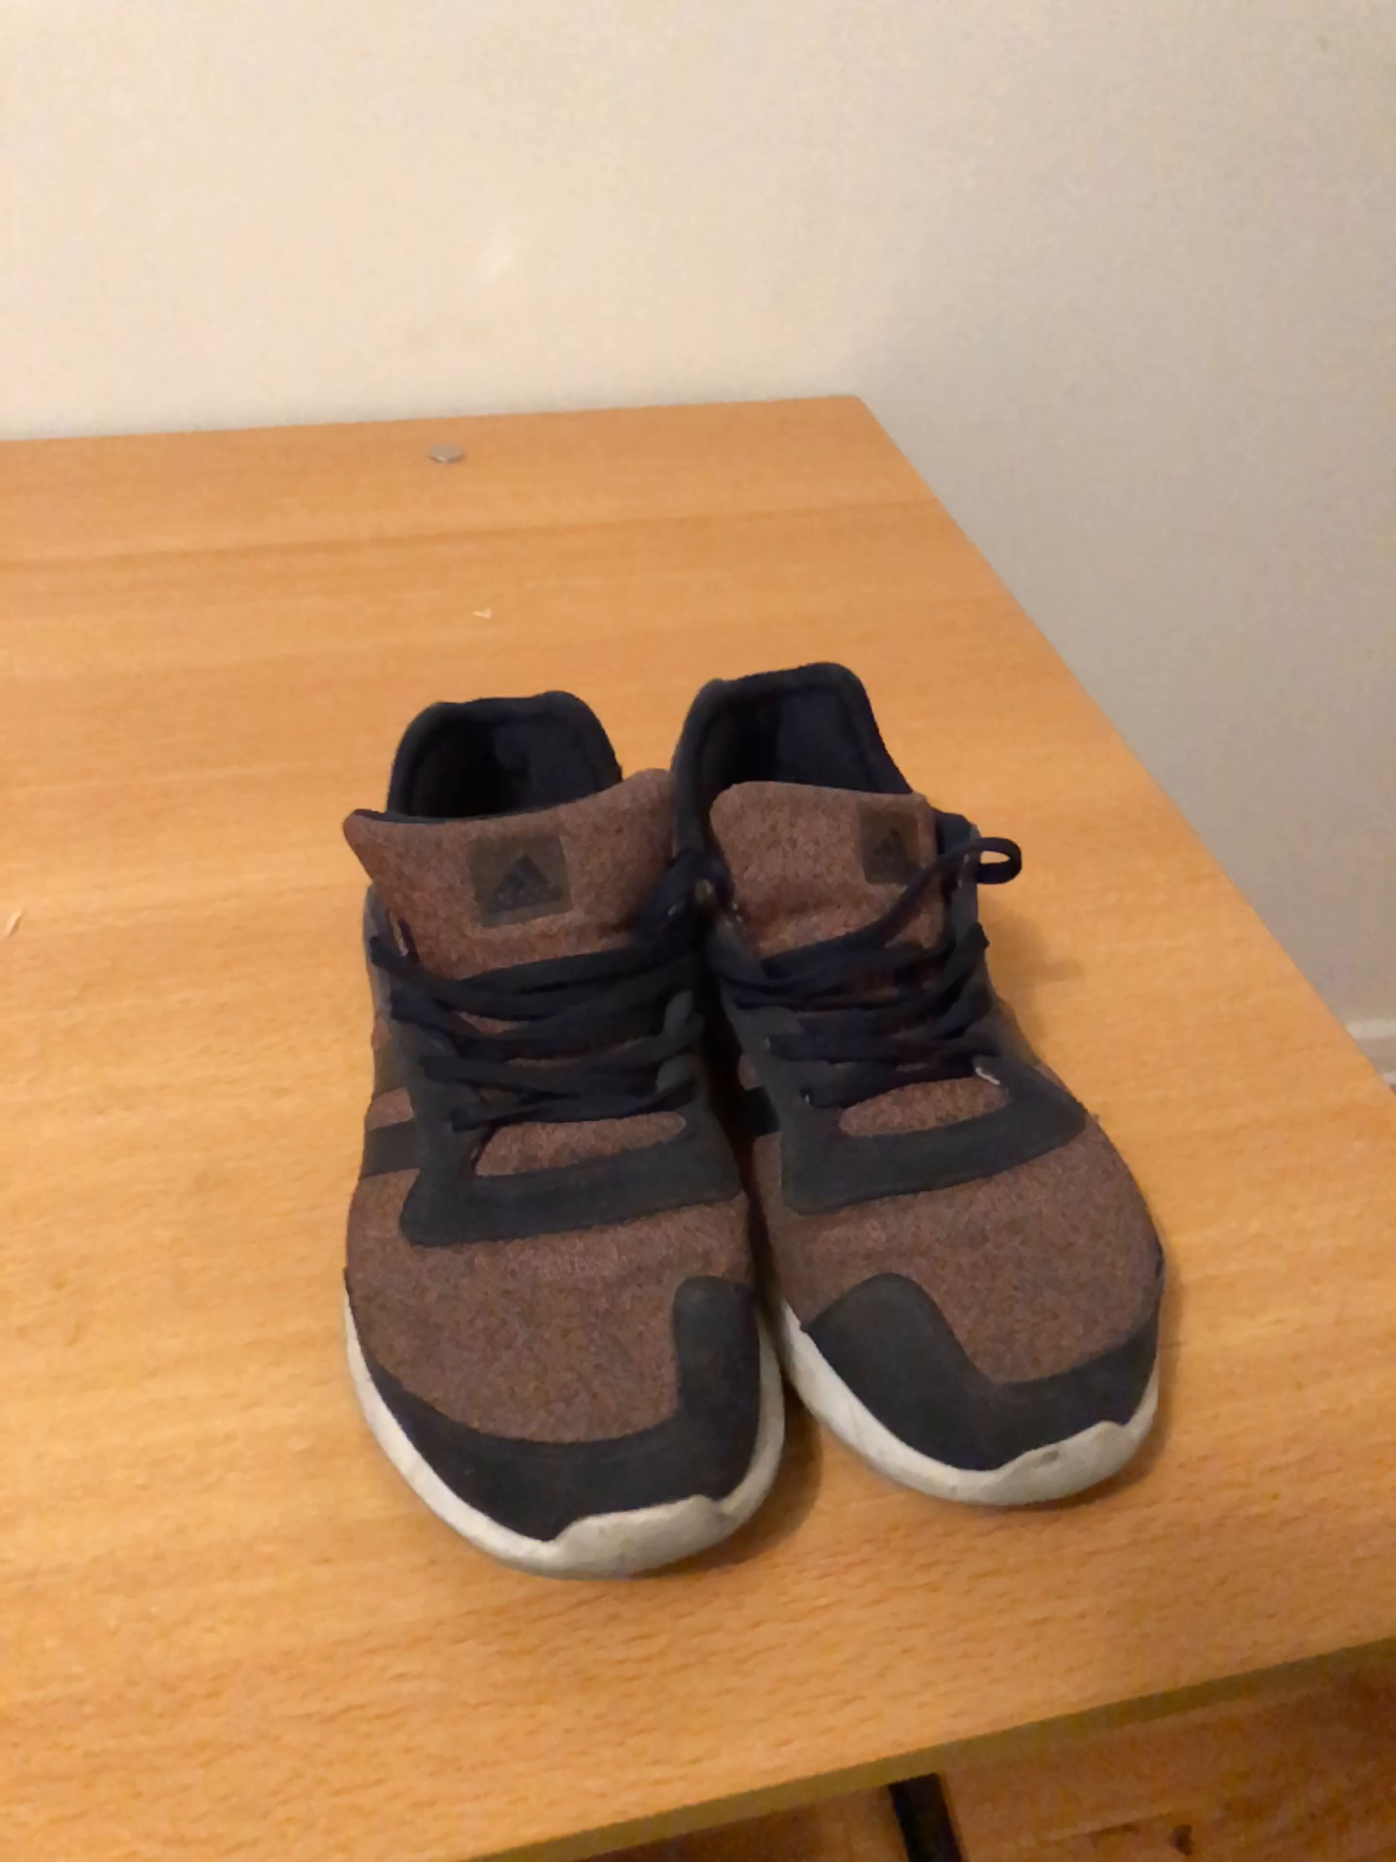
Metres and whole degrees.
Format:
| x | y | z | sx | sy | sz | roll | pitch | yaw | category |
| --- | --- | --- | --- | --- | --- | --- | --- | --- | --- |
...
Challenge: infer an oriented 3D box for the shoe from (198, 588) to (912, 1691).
| x | y | z | sx | sy | sz | roll | pitch | yaw | category |
| --- | --- | --- | --- | --- | --- | --- | --- | --- | --- |
| -0.060 | 0.024 | 0.419 | 0.130 | 0.099 | 0.292 | -7 | 41 | -12 | shoe |

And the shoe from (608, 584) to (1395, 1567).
| x | y | z | sx | sy | sz | roll | pitch | yaw | category |
| --- | --- | --- | --- | --- | --- | --- | --- | --- | --- |
| 0.065 | 0.015 | 0.425 | 0.130 | 0.099 | 0.262 | -7 | 41 | -12 | shoe |
